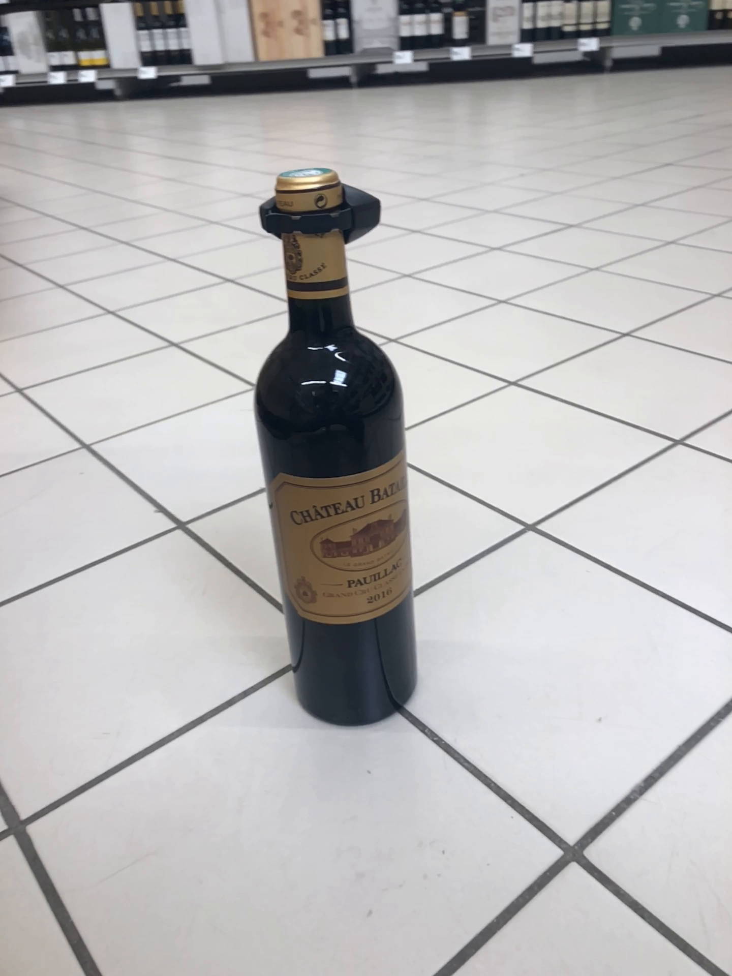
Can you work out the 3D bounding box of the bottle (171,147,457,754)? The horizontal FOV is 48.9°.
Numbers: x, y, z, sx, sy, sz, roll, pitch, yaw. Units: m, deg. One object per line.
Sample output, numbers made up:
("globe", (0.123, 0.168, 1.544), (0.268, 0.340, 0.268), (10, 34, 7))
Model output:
("bottle", (-0.017, -0.013, 0.418), (0.090, 0.288, 0.090), (-3, 30, 2))
